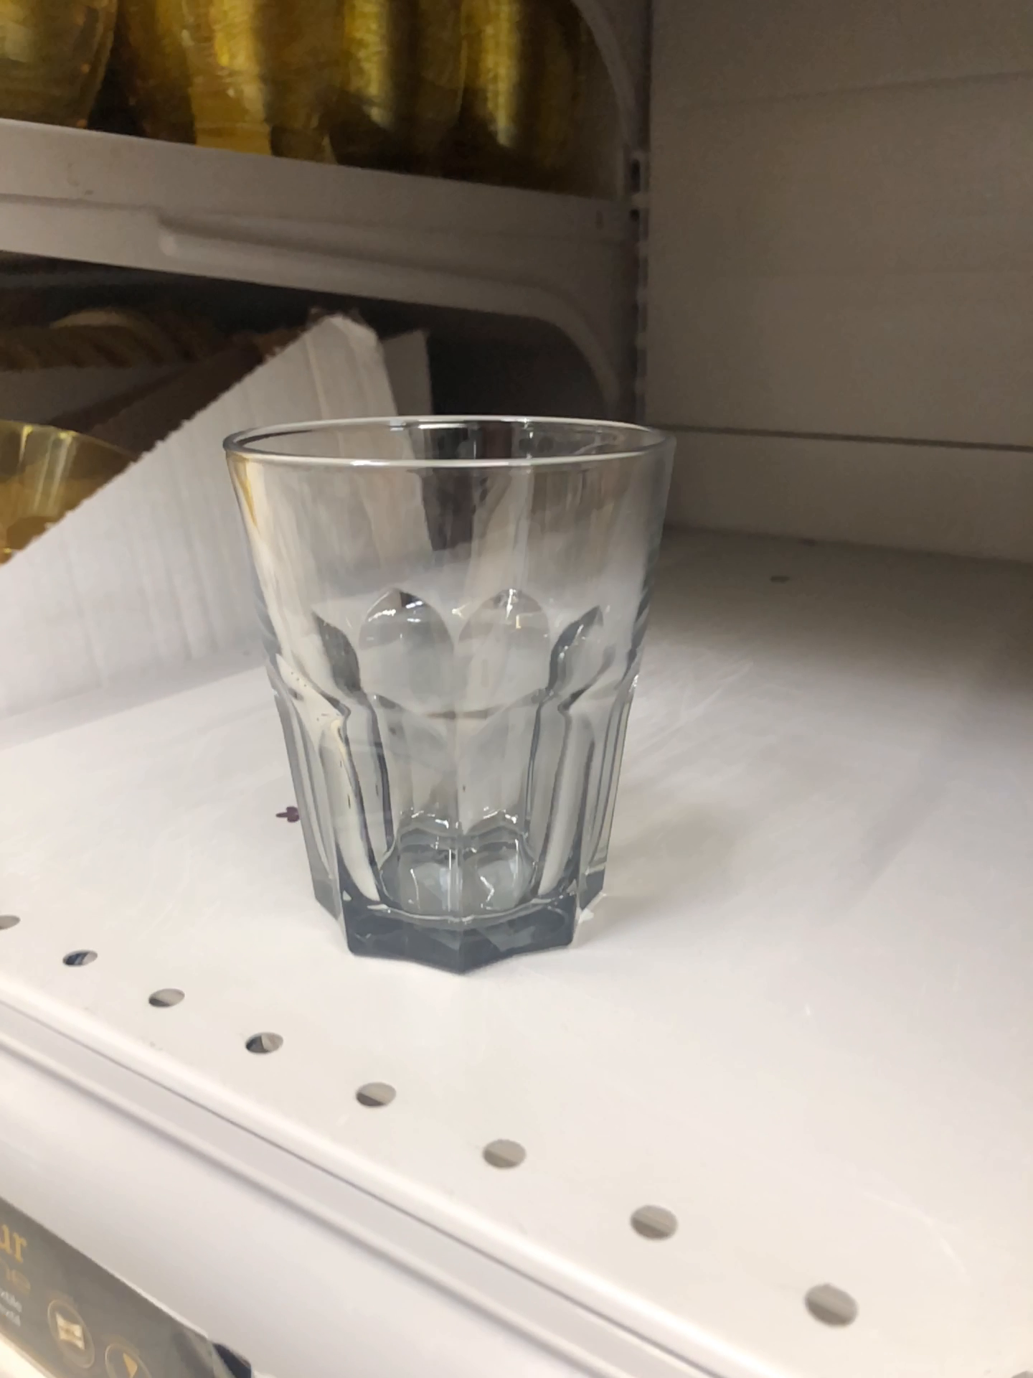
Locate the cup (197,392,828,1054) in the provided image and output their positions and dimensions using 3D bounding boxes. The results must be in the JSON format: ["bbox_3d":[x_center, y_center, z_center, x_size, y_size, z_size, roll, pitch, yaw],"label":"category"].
[{"bbox_3d":[-0.005,-0.005,0.219,0.083,0.092,0.086,0,18,0],"label":"cup"}]
